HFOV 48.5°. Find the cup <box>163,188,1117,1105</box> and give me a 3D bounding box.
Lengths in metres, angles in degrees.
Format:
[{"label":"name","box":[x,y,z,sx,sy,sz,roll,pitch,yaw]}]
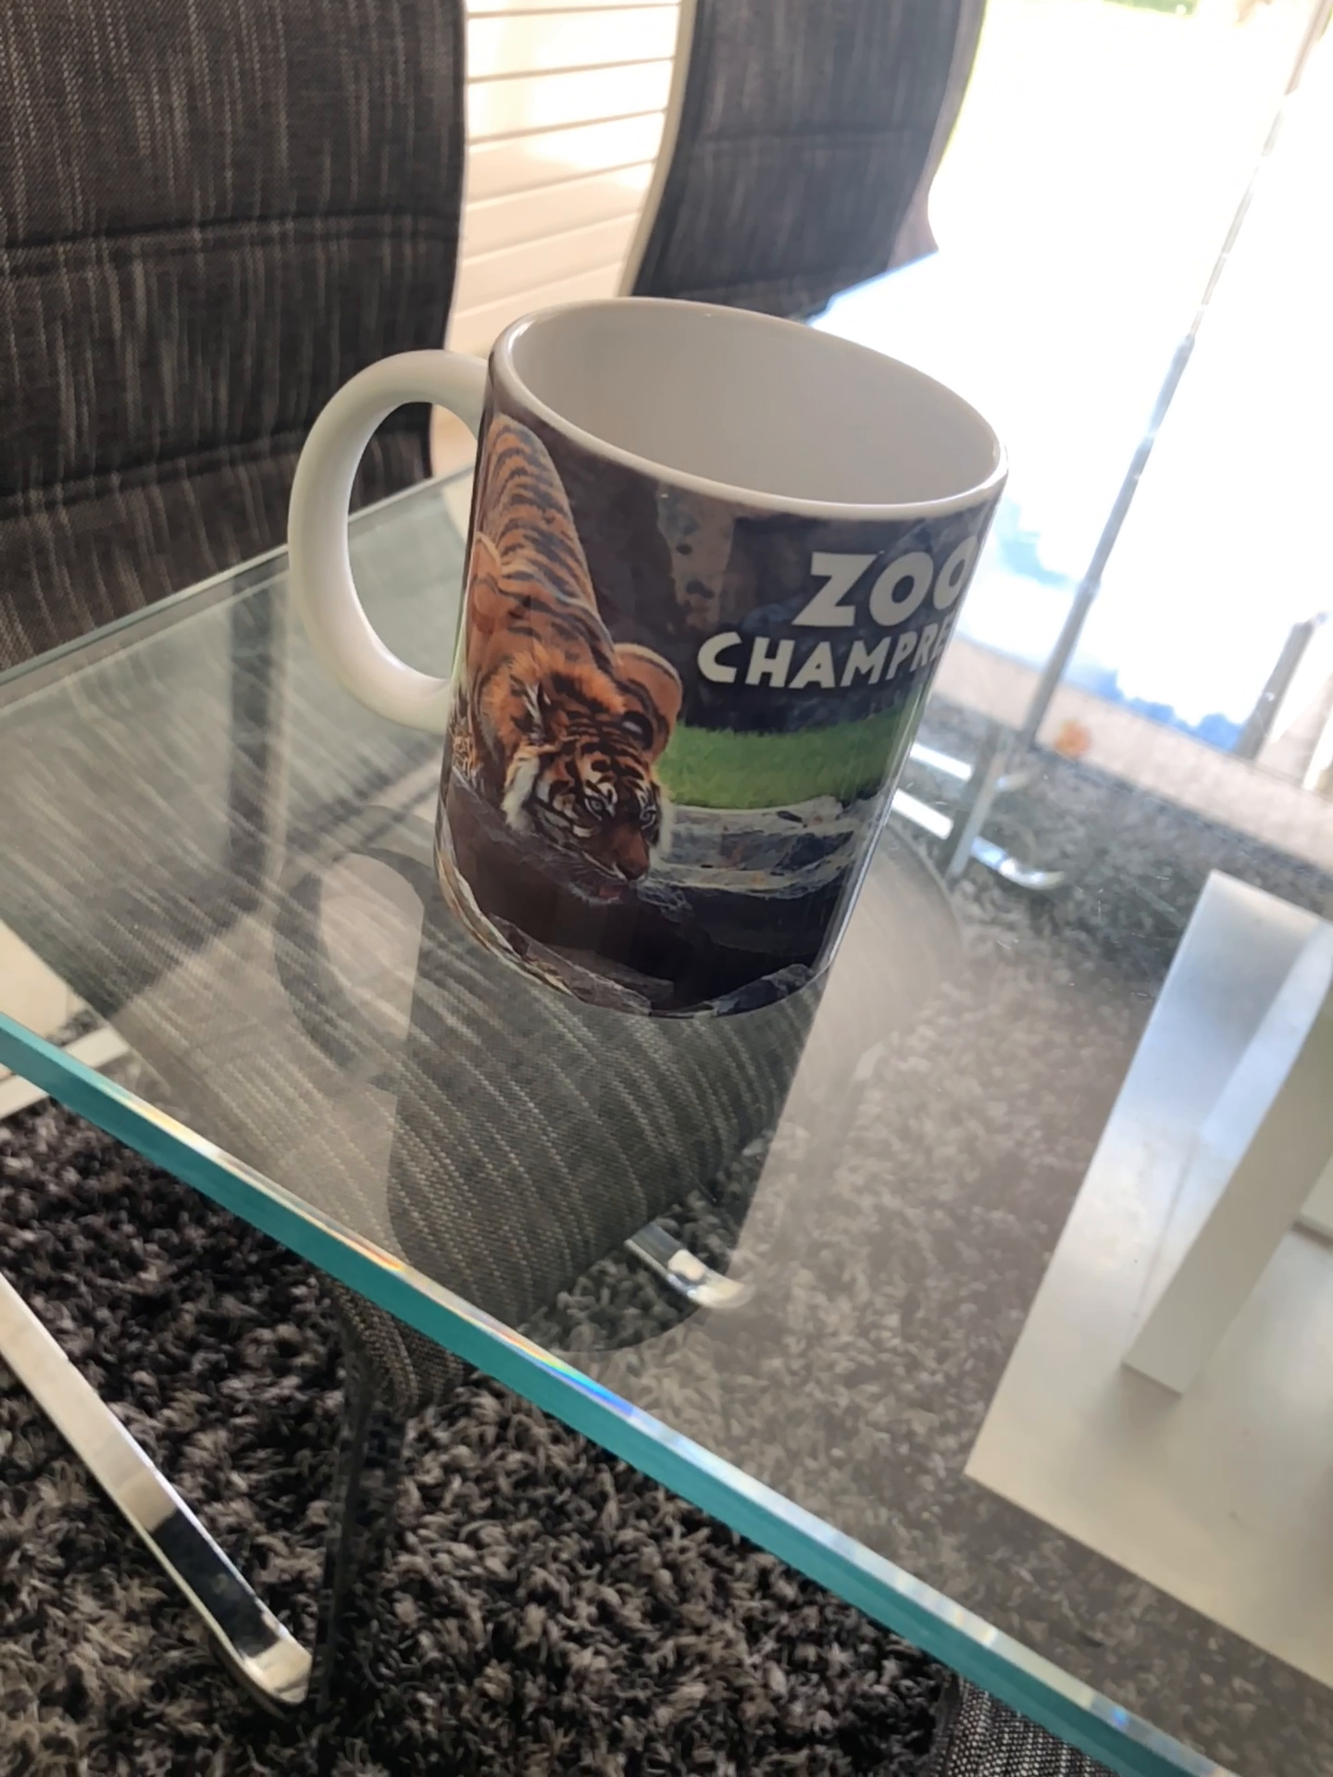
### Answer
[{"label":"cup","box":[-0.006,-0.045,0.243,0.120,0.089,0.081,22,38,11]}]
